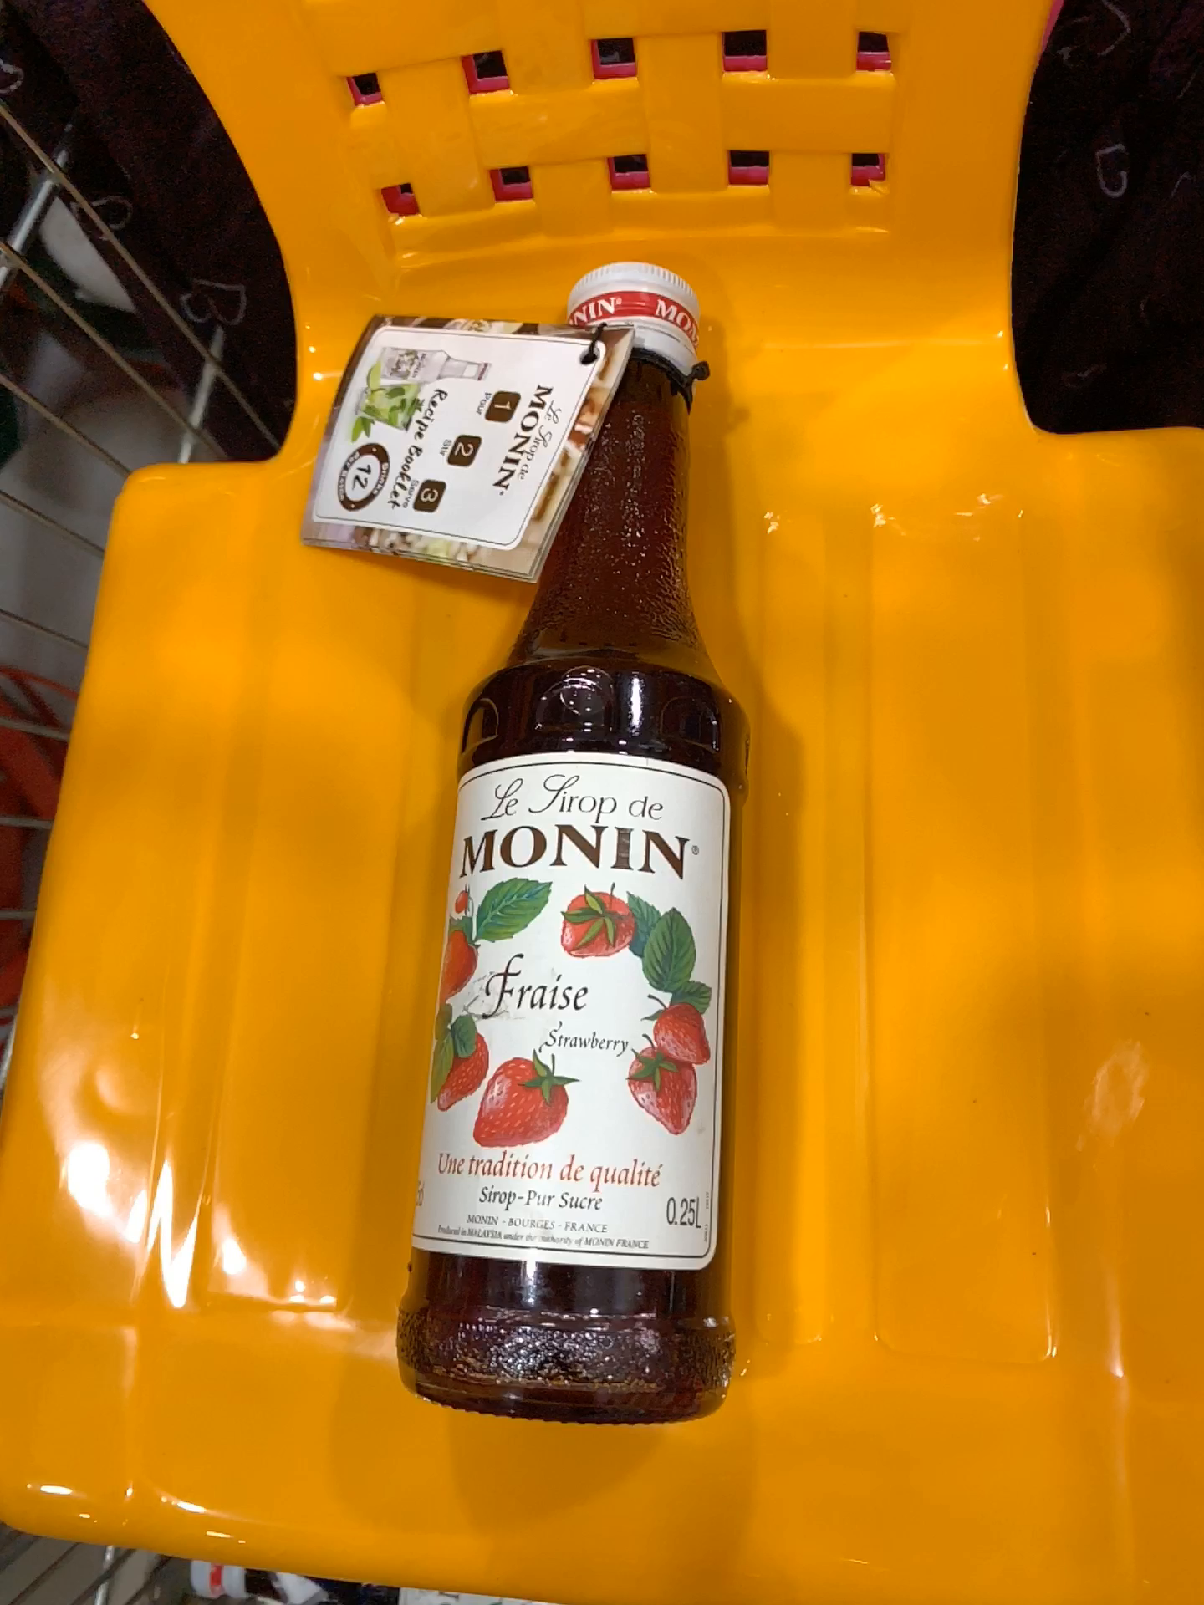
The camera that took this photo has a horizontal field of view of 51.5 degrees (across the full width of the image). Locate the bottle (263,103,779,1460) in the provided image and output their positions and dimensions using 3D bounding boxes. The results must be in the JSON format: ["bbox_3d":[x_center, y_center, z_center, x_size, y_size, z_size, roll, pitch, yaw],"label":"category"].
[{"bbox_3d":[-0.002,-0.015,0.229,0.060,0.060,0.230,2,70,8],"label":"bottle"}]
